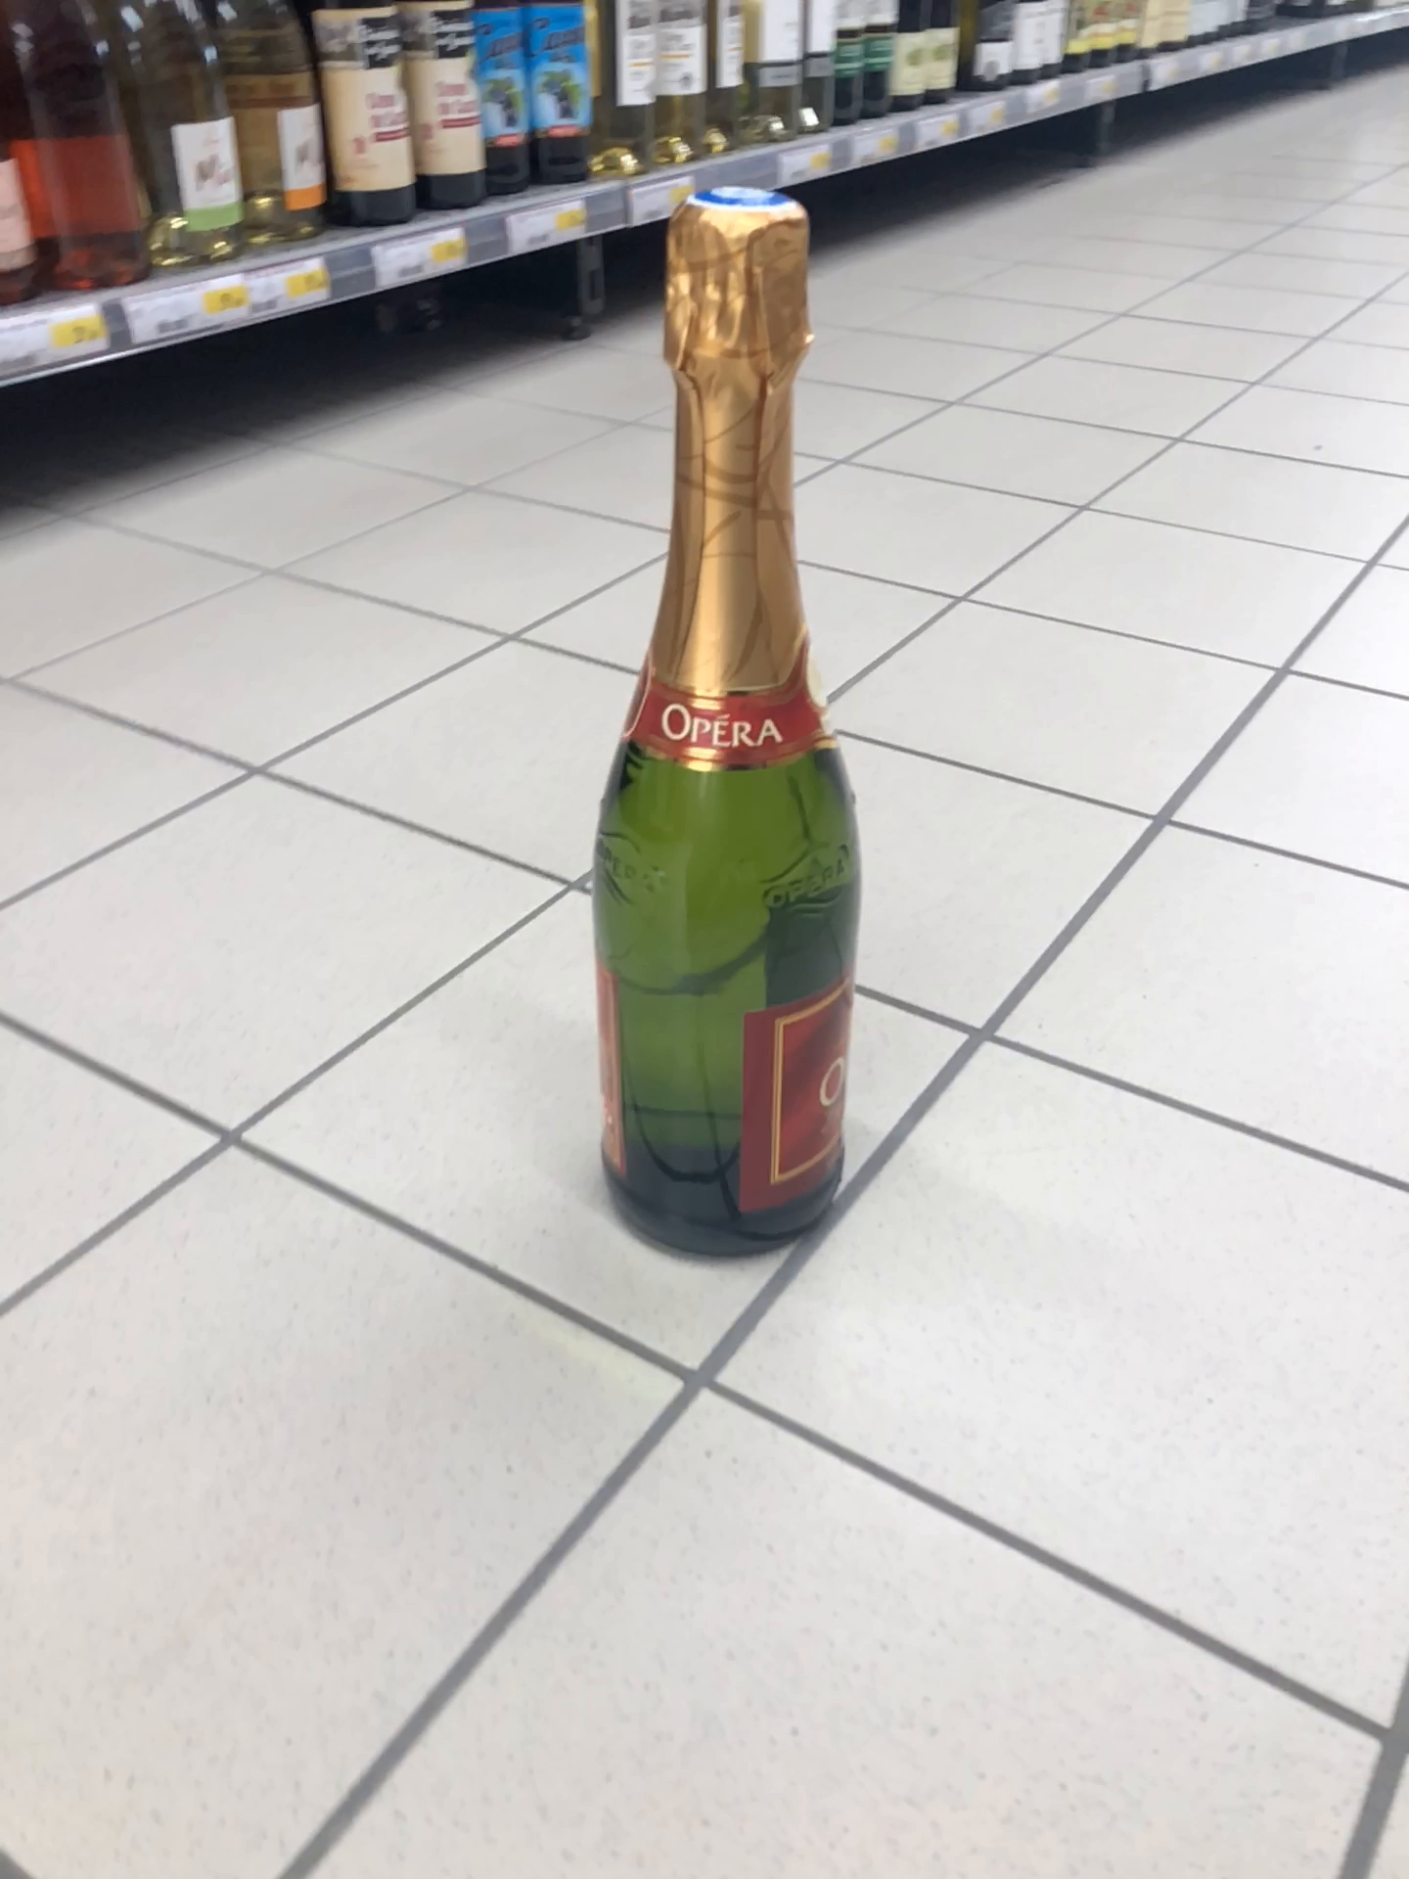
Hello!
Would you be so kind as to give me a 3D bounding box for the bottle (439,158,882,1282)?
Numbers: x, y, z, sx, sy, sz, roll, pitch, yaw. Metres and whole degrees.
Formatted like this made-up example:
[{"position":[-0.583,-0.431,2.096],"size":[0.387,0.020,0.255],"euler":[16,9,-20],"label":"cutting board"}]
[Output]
[{"position":[-0.005,-0.048,0.434],"size":[0.090,0.298,0.091],"euler":[0,32,0],"label":"bottle"}]
